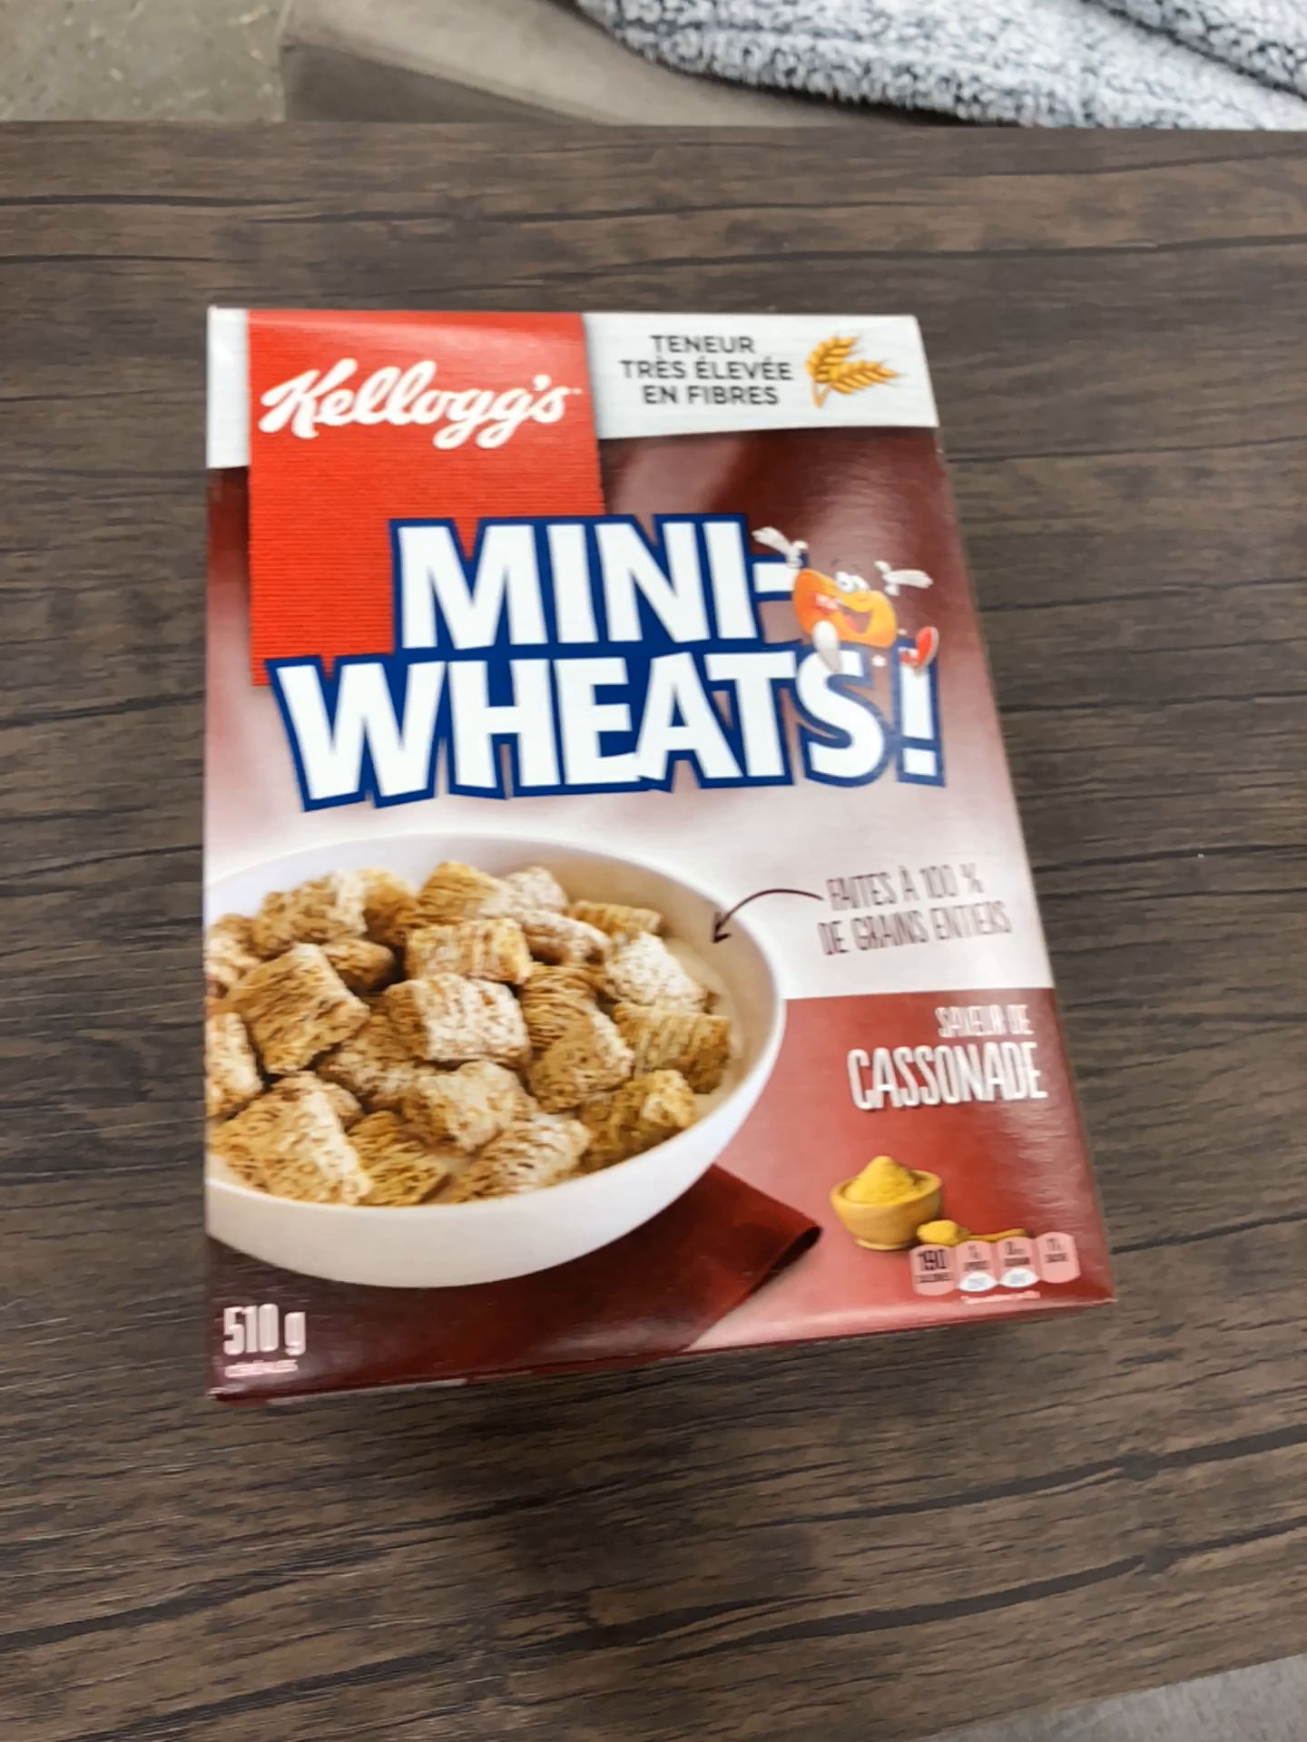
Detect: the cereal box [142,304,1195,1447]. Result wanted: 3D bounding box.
[{"bbox_3d":[-0.009,-0.011,0.357,0.210,0.060,0.260,-3,70,-10],"label":"cereal box"}]
